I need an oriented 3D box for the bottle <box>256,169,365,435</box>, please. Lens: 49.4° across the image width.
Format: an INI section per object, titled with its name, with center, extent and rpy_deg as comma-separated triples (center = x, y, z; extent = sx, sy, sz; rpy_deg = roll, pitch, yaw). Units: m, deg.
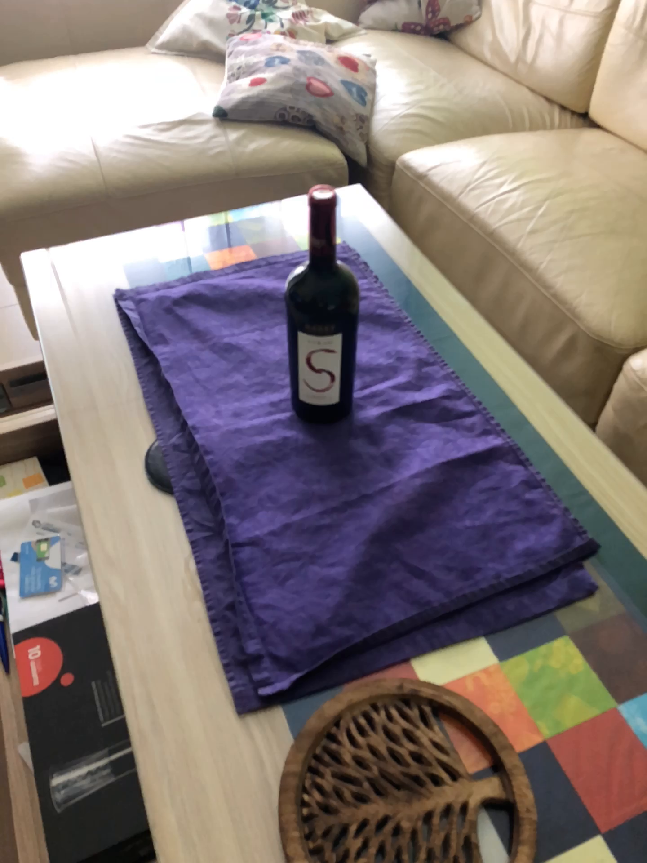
[bottle]
center = -0.015, -0.126, 0.746
extent = 0.090, 0.269, 0.090
rpy_deg = 0, 46, 0
